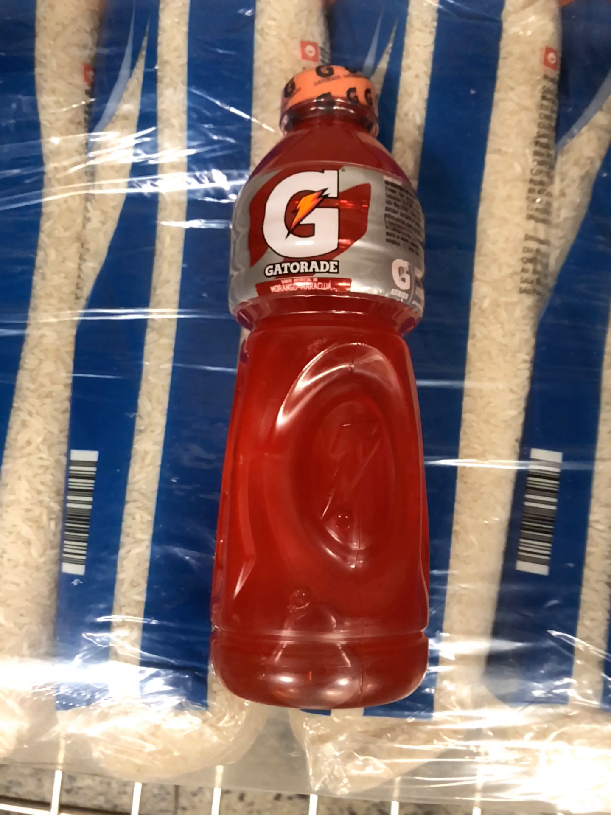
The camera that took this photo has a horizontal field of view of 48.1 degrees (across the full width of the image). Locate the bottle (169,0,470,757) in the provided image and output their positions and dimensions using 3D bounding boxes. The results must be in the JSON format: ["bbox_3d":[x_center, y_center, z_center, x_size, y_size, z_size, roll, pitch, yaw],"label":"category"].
[{"bbox_3d":[0.006,-0.017,0.219,0.080,0.060,0.220,0,86,4],"label":"bottle"}]
